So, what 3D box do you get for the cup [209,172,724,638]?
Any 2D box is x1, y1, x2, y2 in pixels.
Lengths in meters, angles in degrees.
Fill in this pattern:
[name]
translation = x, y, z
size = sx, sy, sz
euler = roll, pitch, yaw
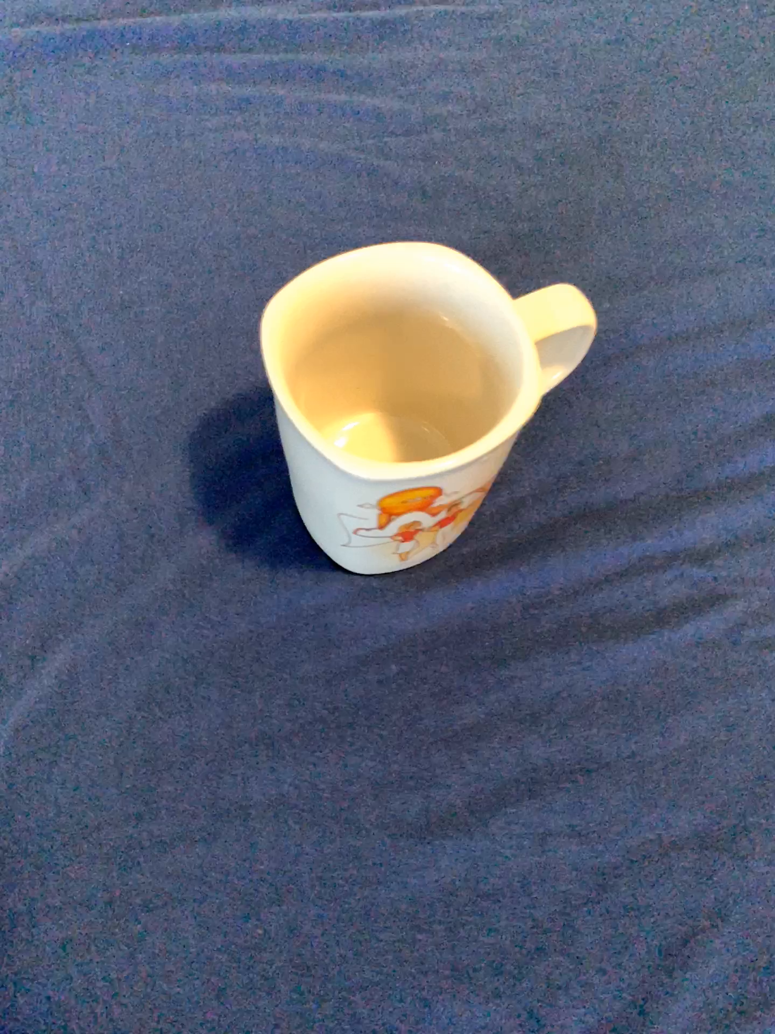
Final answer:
[cup]
translation = 0.017, -0.029, 0.240
size = 0.110, 0.090, 0.070
euler = -22, 68, -13
